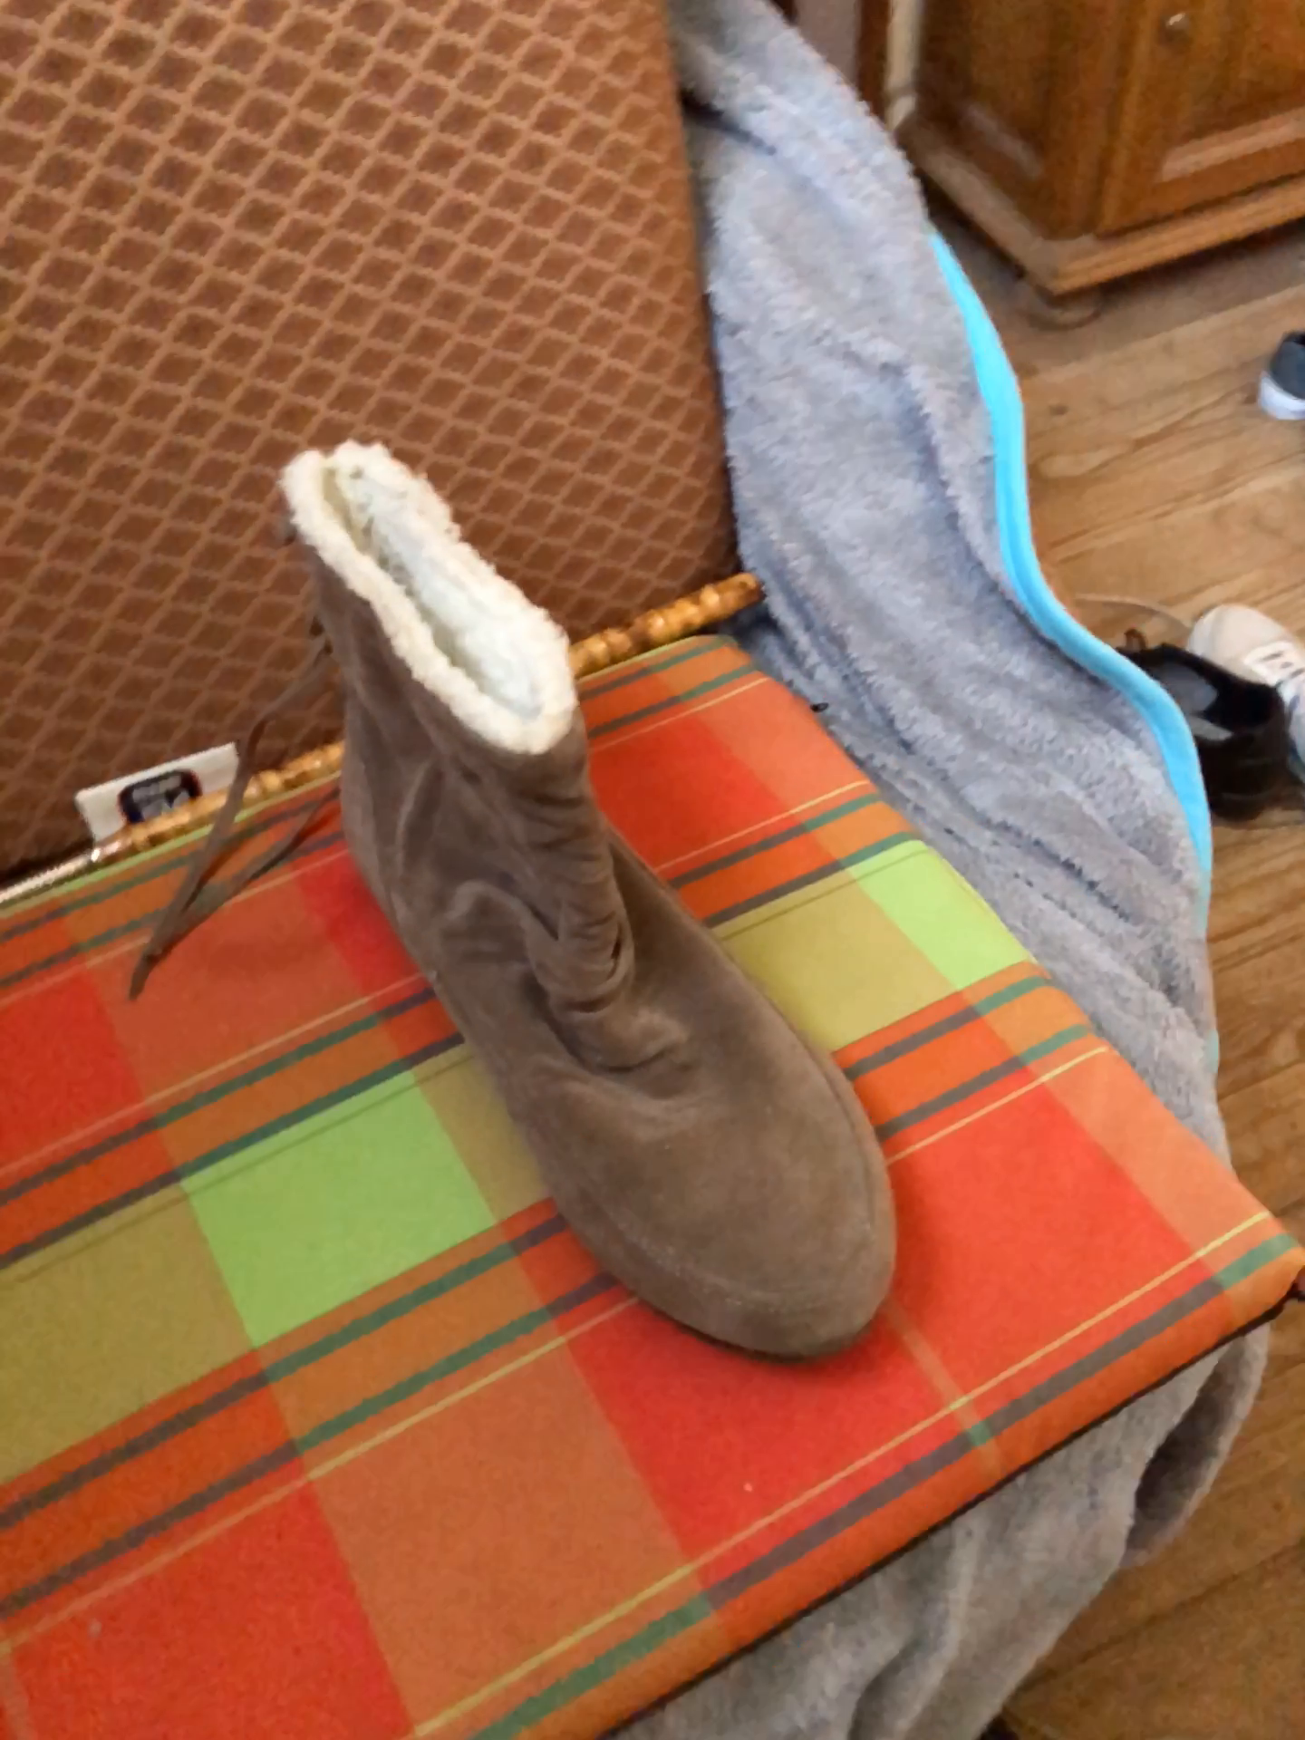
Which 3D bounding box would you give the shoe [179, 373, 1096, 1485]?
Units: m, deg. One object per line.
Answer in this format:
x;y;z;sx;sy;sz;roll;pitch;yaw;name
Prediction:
-0.017;0.009;0.408;0.100;0.159;0.261;-28;56;-16;shoe
